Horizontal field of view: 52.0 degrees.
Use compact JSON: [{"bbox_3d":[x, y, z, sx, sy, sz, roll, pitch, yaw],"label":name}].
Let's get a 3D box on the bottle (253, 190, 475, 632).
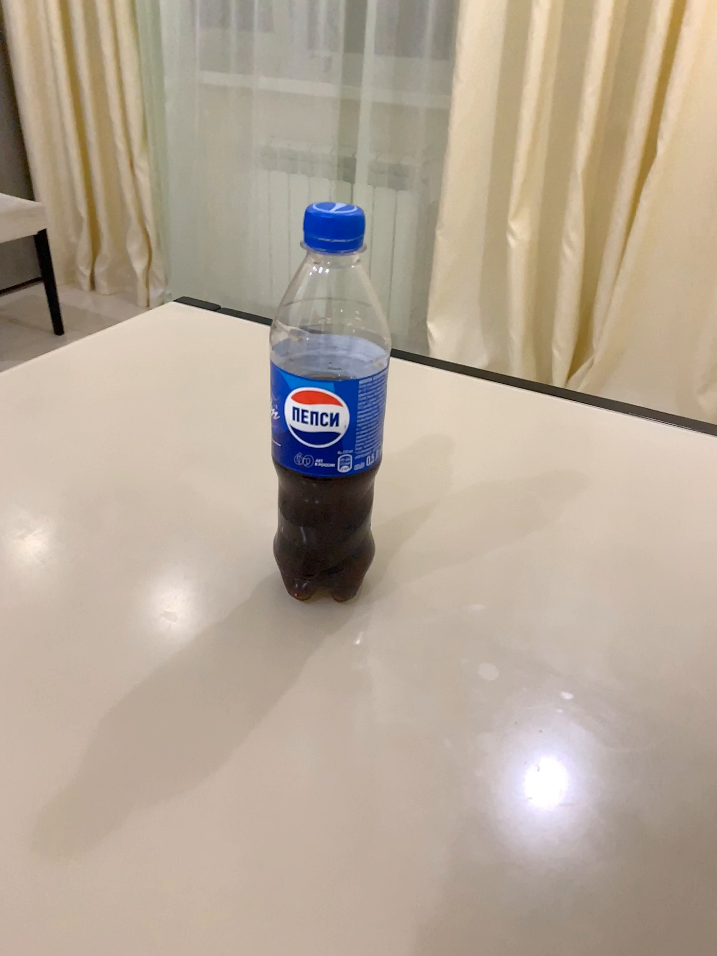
[{"bbox_3d":[-0.004,-0.035,0.423,0.080,0.229,0.080,2,32,-1],"label":"bottle"}]
